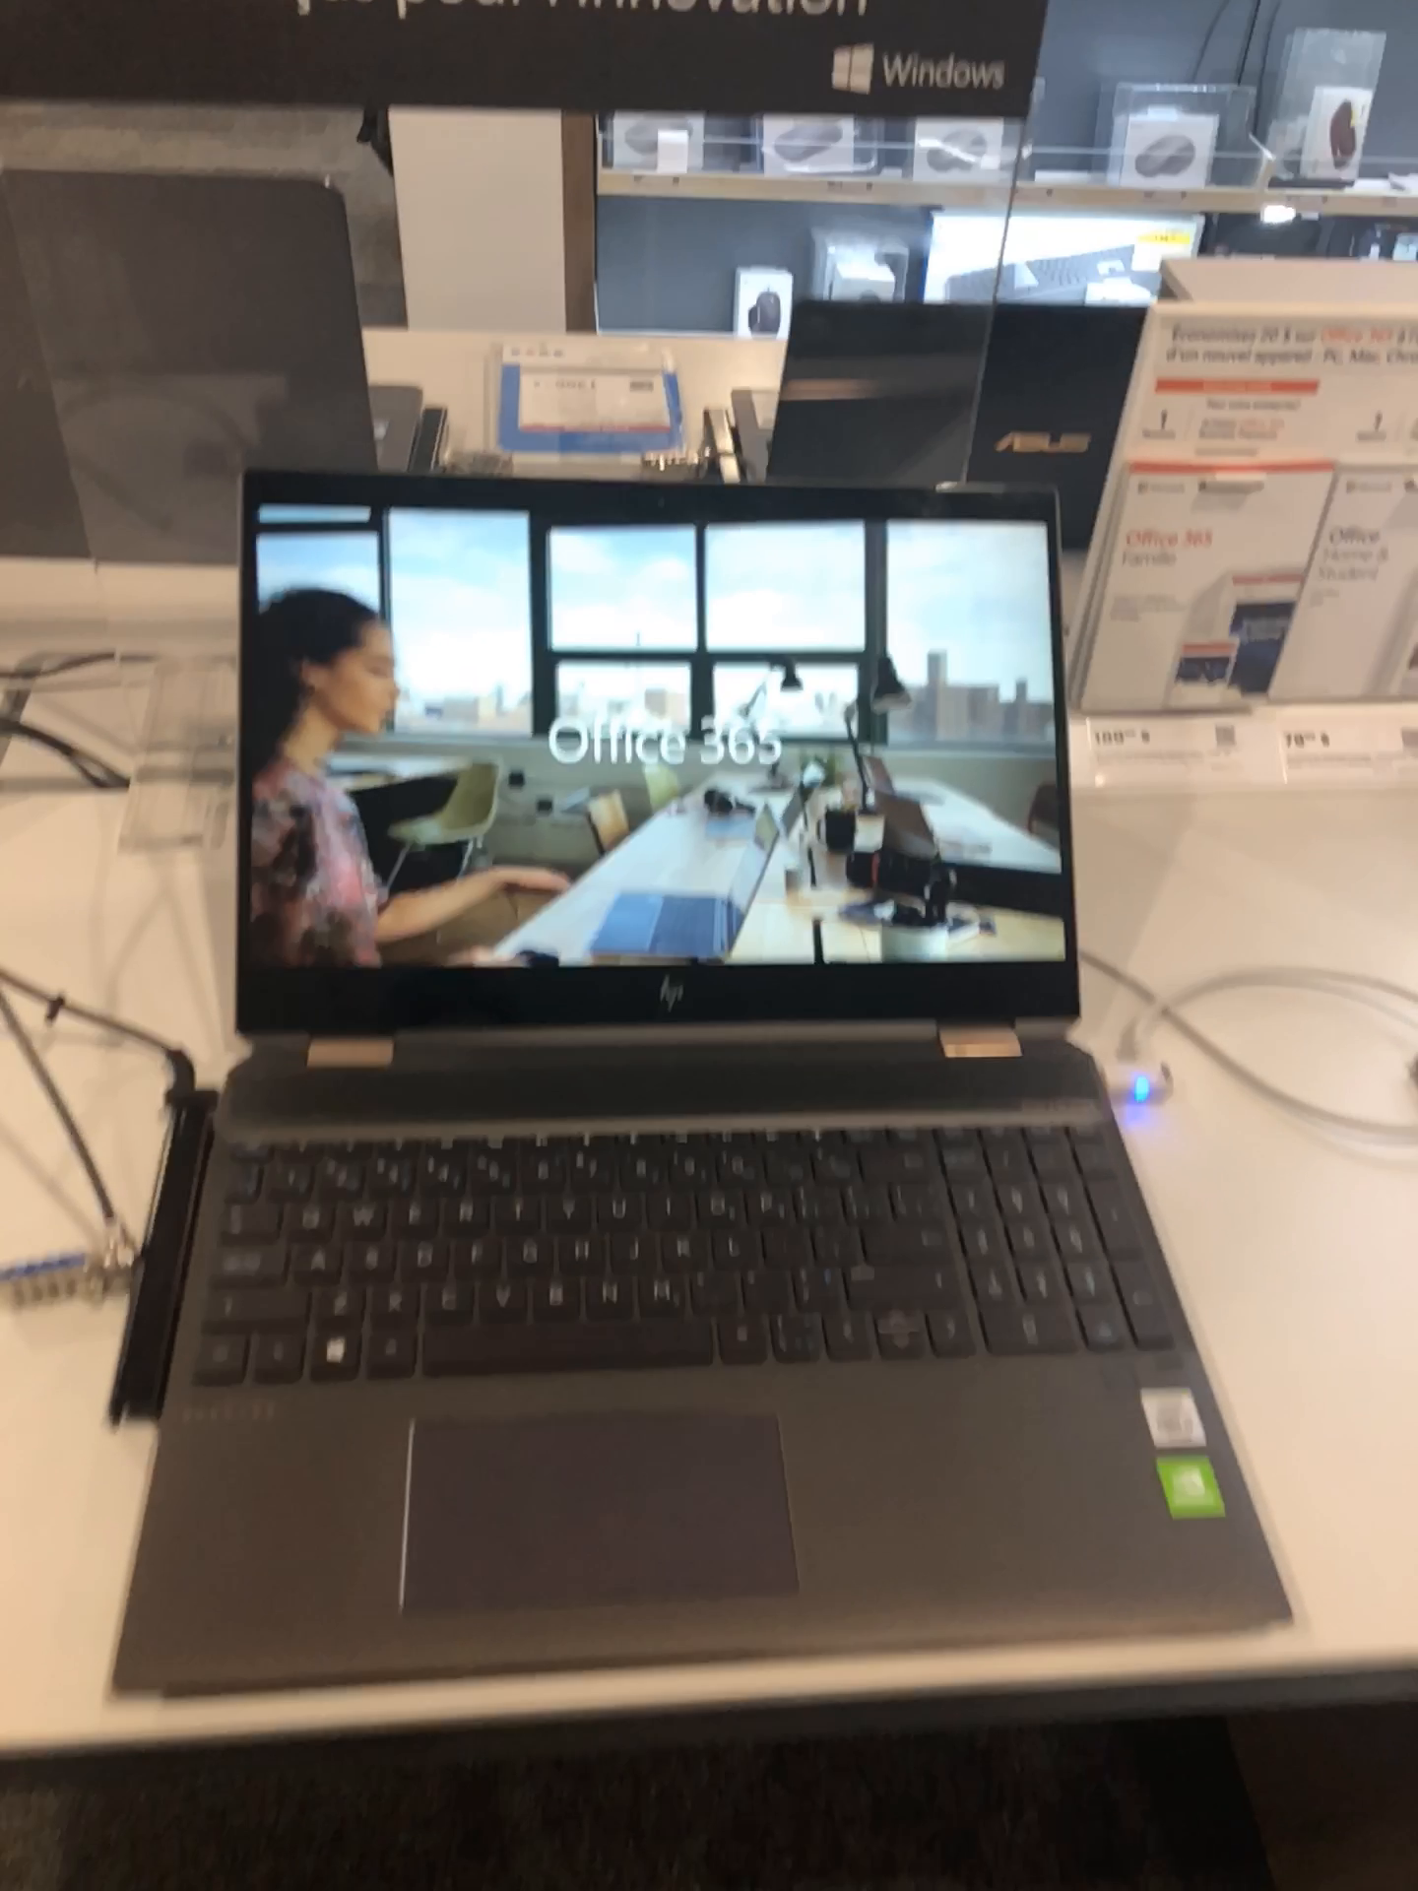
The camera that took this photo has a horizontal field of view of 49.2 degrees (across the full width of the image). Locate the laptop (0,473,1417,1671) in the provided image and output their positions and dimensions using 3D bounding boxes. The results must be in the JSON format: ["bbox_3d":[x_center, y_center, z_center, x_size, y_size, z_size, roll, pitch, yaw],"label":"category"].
[{"bbox_3d":[-0.009,0.002,0.551,0.333,0.145,0.427,-1,44,-4],"label":"laptop"}]
